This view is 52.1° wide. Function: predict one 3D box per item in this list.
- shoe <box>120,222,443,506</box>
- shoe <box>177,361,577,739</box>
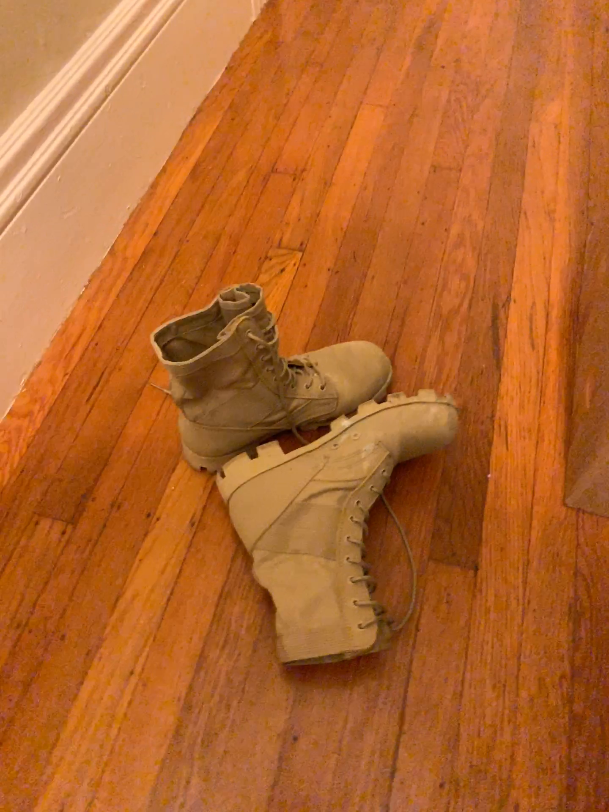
[{"bbox_3d":[-0.019,-0.042,0.688,0.290,0.199,0.120,-24,60,-13],"label":"shoe"},{"bbox_3d":[0.060,0.135,0.637,0.290,0.110,0.261,-22,65,-12],"label":"shoe"}]
